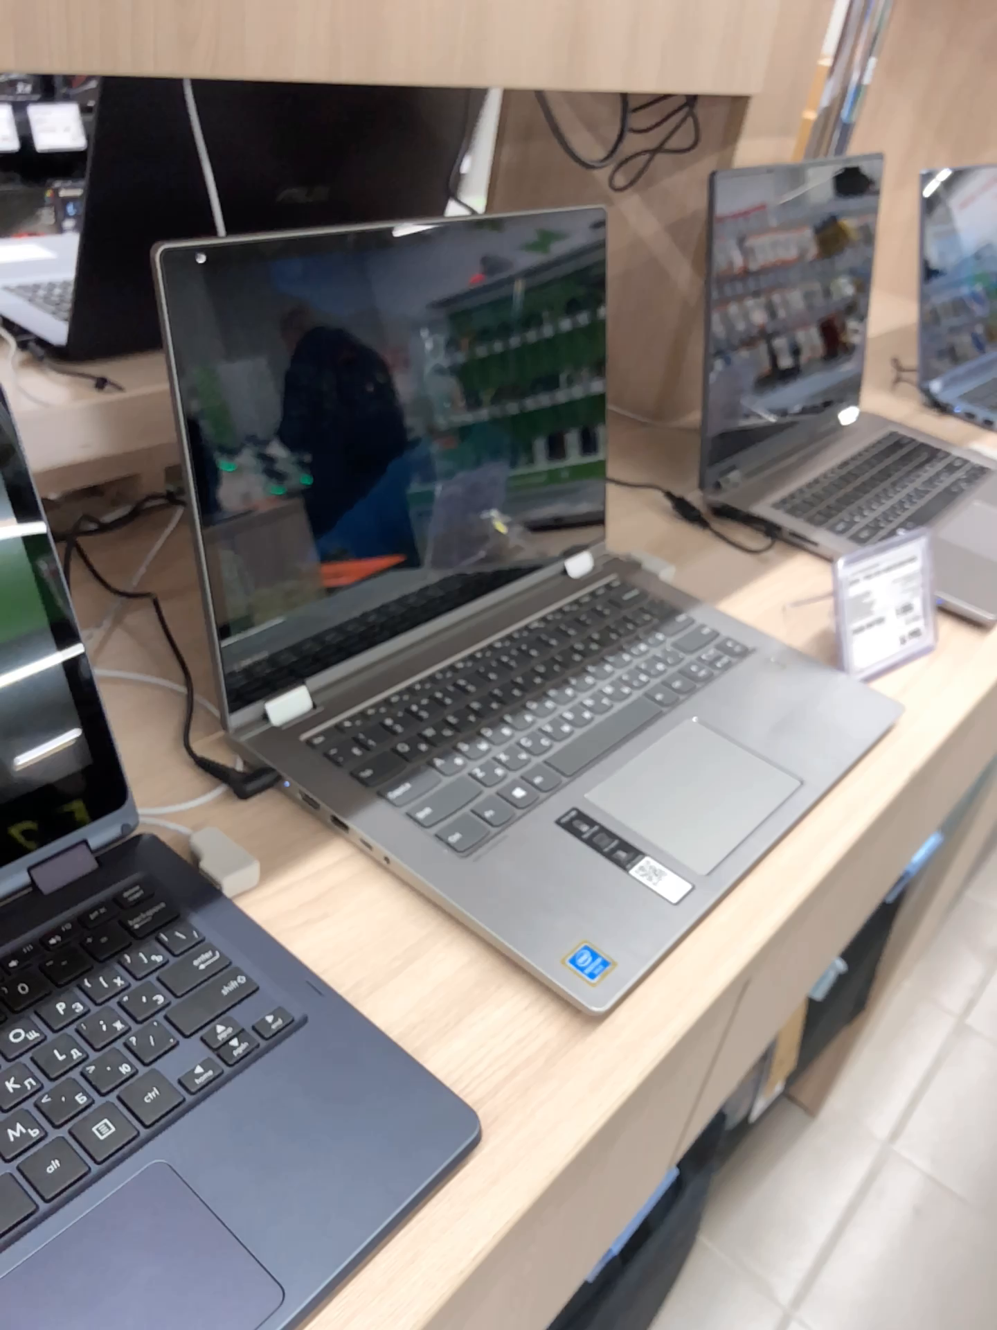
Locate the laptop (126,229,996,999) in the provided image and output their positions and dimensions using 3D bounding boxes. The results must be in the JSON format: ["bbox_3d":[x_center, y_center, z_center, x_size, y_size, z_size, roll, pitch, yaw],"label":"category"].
[{"bbox_3d":[0.040,-0.069,0.554,0.287,0.205,0.312,28,34,25],"label":"laptop"}]
